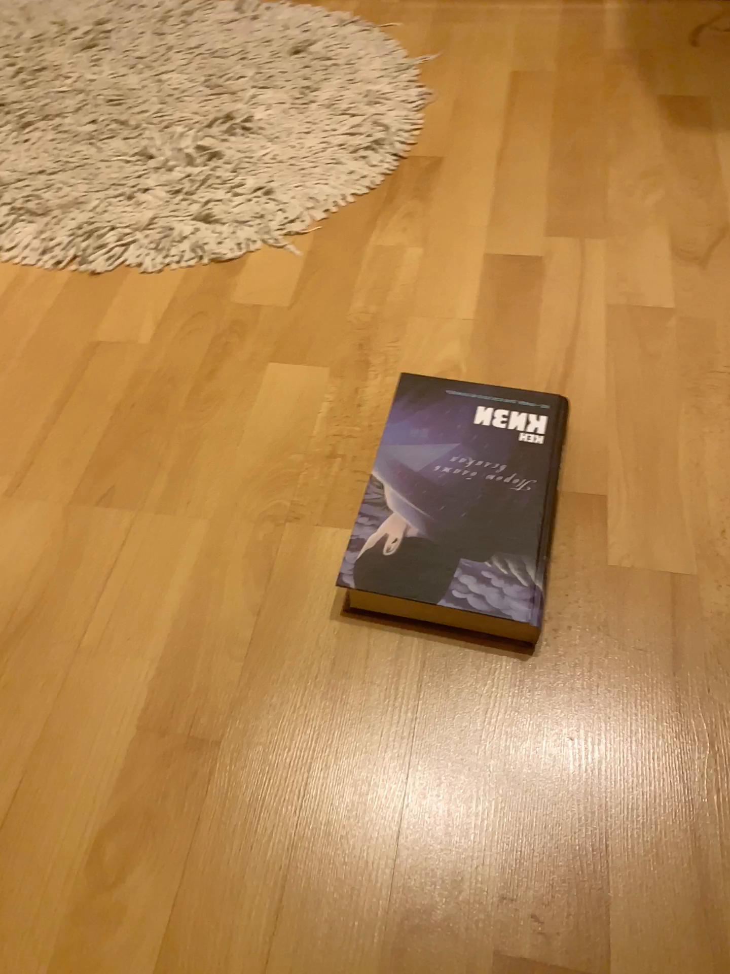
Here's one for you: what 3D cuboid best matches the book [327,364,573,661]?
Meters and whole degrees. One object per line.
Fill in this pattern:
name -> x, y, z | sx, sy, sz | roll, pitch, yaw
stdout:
book -> 0.075, 0.009, 0.595 | 0.150, 0.050, 0.225 | 10, 55, 11
